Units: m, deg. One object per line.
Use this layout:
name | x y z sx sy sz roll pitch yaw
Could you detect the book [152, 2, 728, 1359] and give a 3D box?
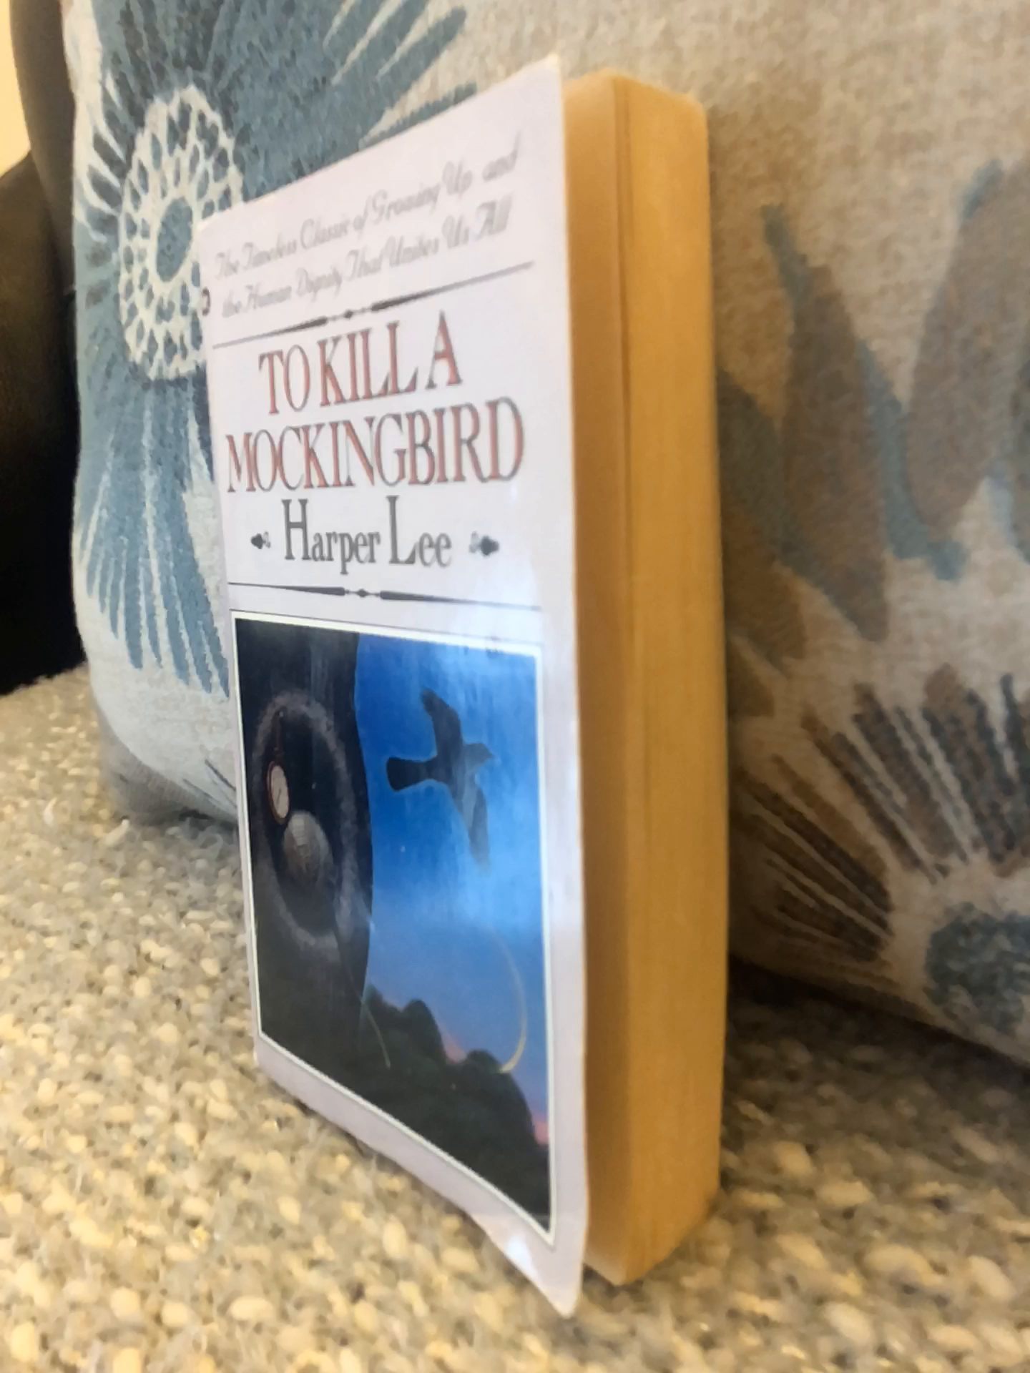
book | -0.019 -0.002 0.193 0.033 0.166 0.112 -7 10 -38
